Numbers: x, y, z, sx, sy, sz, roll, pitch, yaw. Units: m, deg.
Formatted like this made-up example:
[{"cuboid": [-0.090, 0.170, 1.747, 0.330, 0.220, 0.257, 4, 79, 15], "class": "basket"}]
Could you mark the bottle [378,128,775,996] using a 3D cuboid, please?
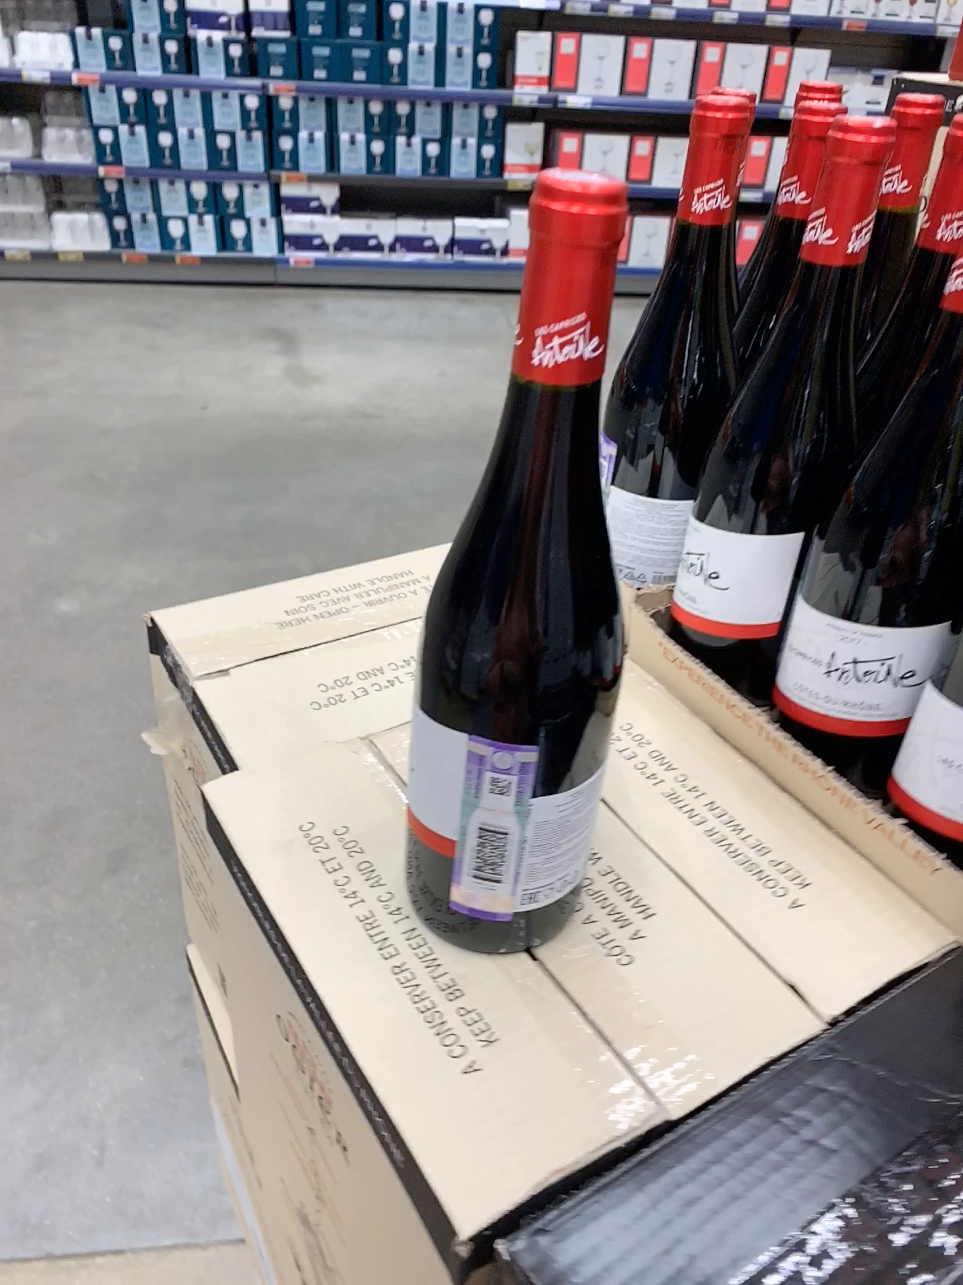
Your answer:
[{"cuboid": [0.023, -0.015, 0.368, 0.090, 0.298, 0.090, 3, 34, -2], "class": "bottle"}]
